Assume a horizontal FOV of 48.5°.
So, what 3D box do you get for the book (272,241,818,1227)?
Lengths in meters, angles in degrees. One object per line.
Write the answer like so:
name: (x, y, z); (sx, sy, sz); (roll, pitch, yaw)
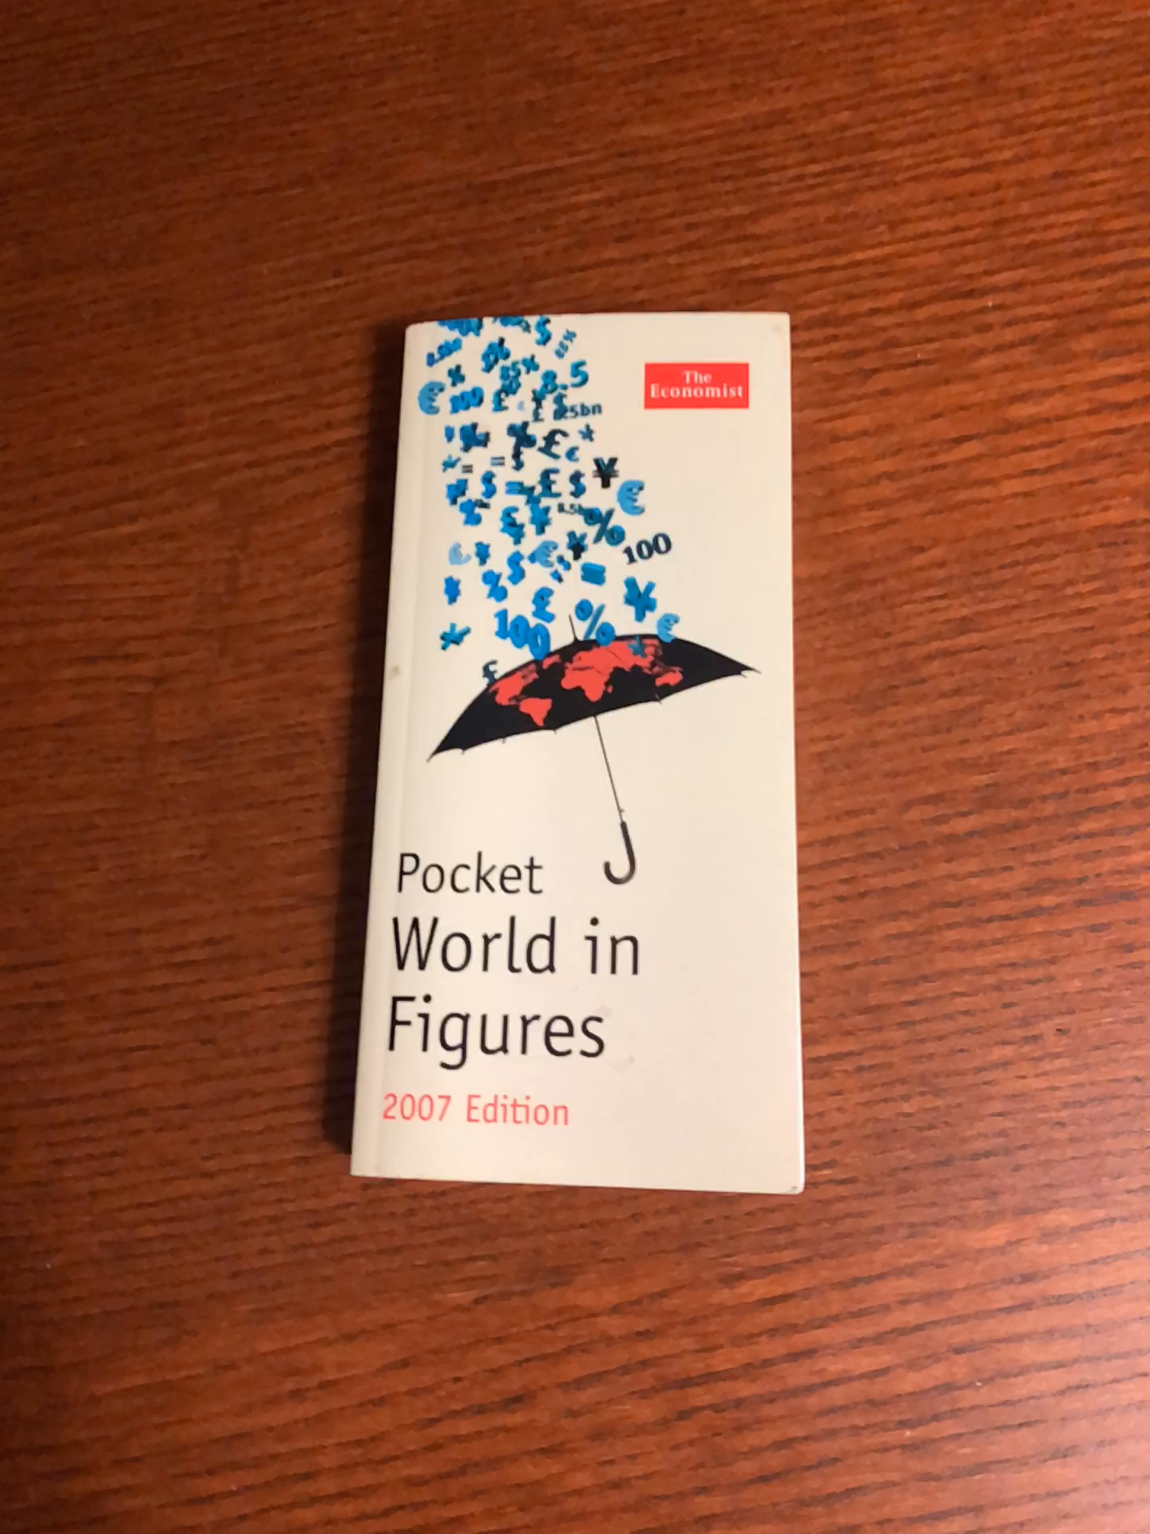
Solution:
book: (-0.001, -0.013, 0.270); (0.100, 0.030, 0.200); (1, 76, 7)
